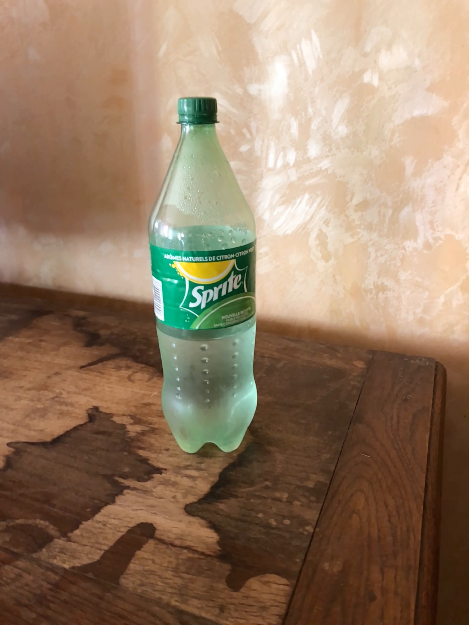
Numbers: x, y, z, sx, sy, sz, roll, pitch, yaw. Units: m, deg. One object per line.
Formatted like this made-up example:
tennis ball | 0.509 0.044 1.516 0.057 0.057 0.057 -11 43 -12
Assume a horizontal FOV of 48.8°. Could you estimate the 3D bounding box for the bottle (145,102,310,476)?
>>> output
bottle | -0.010 -0.020 0.420 0.090 0.279 0.090 1 22 0
